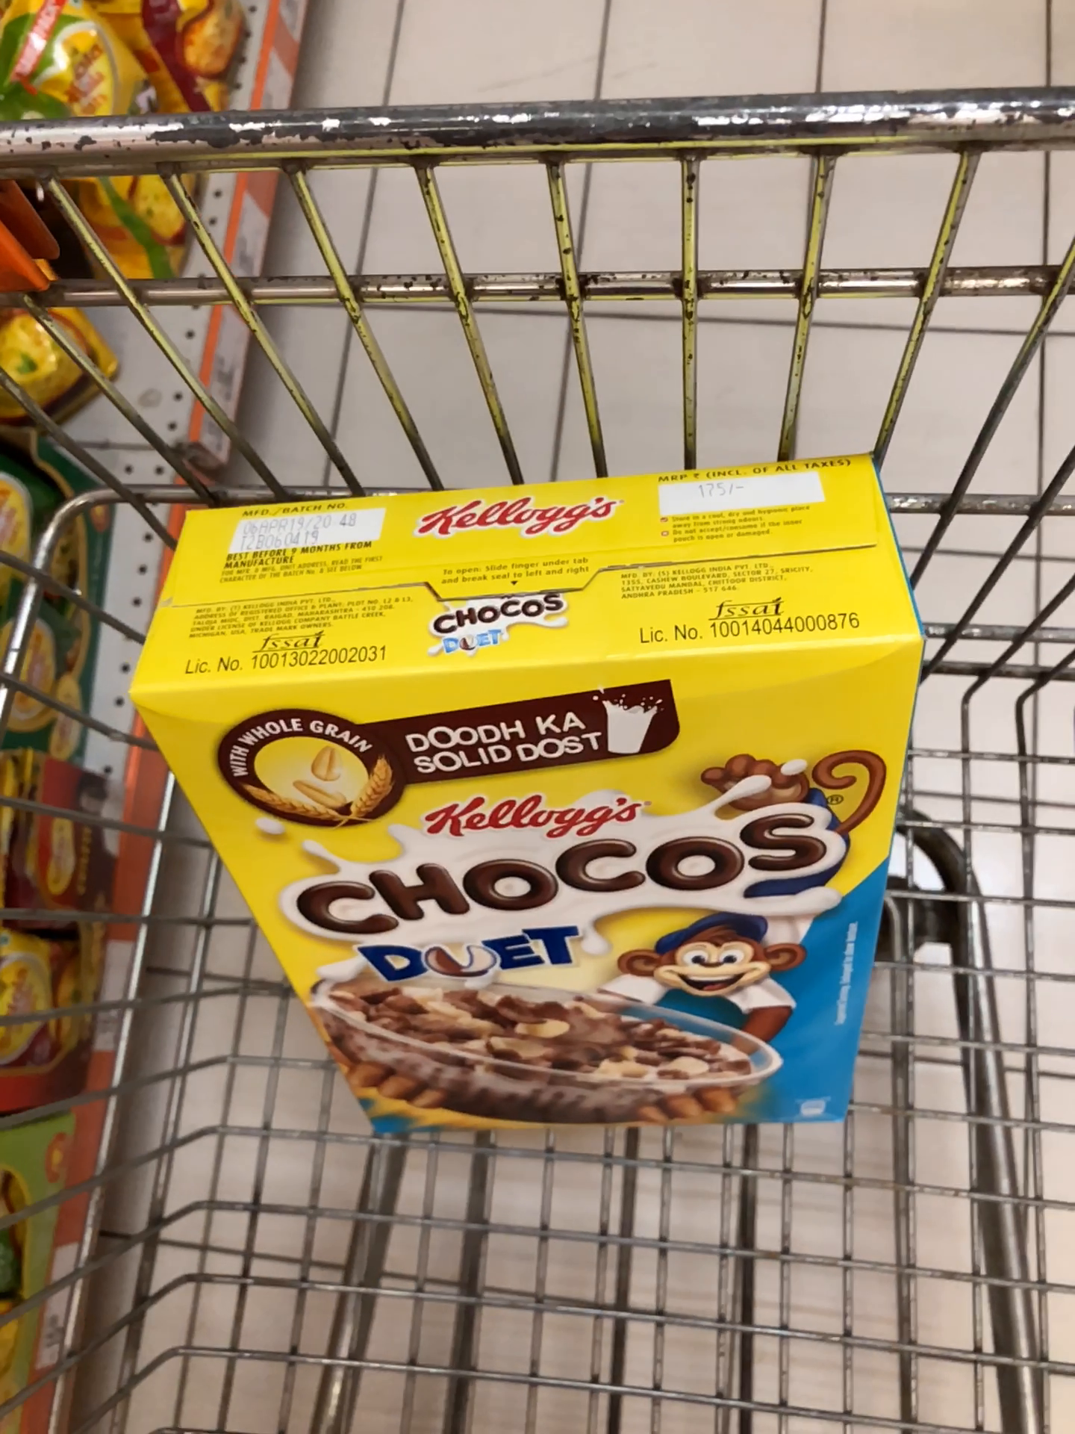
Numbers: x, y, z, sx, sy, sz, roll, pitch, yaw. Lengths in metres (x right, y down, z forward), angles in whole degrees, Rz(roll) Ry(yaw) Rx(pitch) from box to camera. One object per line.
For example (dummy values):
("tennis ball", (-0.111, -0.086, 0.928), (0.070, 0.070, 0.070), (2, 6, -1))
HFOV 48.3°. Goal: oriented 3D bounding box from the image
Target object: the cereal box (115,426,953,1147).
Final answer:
("cereal box", (0.012, 0.046, 0.375), (0.180, 0.259, 0.070), (-4, 48, 6))
